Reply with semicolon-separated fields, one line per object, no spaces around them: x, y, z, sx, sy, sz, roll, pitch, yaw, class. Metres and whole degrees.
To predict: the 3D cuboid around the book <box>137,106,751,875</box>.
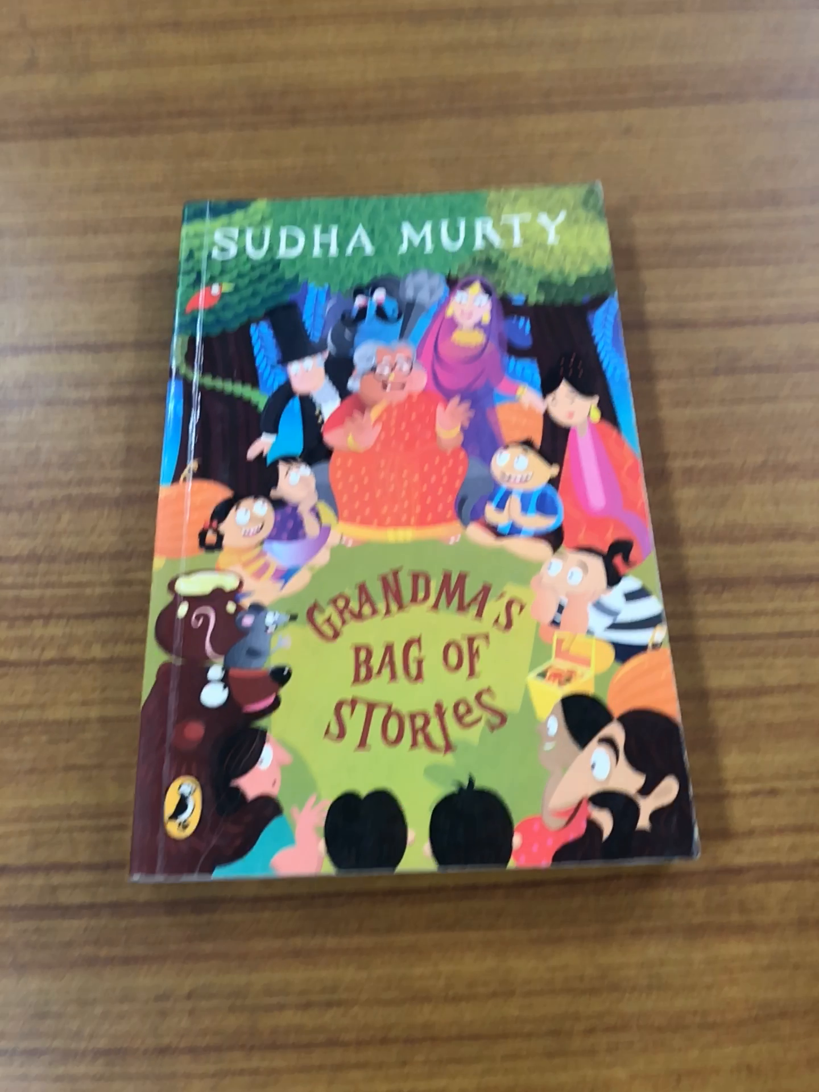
0.003;-0.026;0.249;0.130;0.030;0.210;-3;67;1;book
